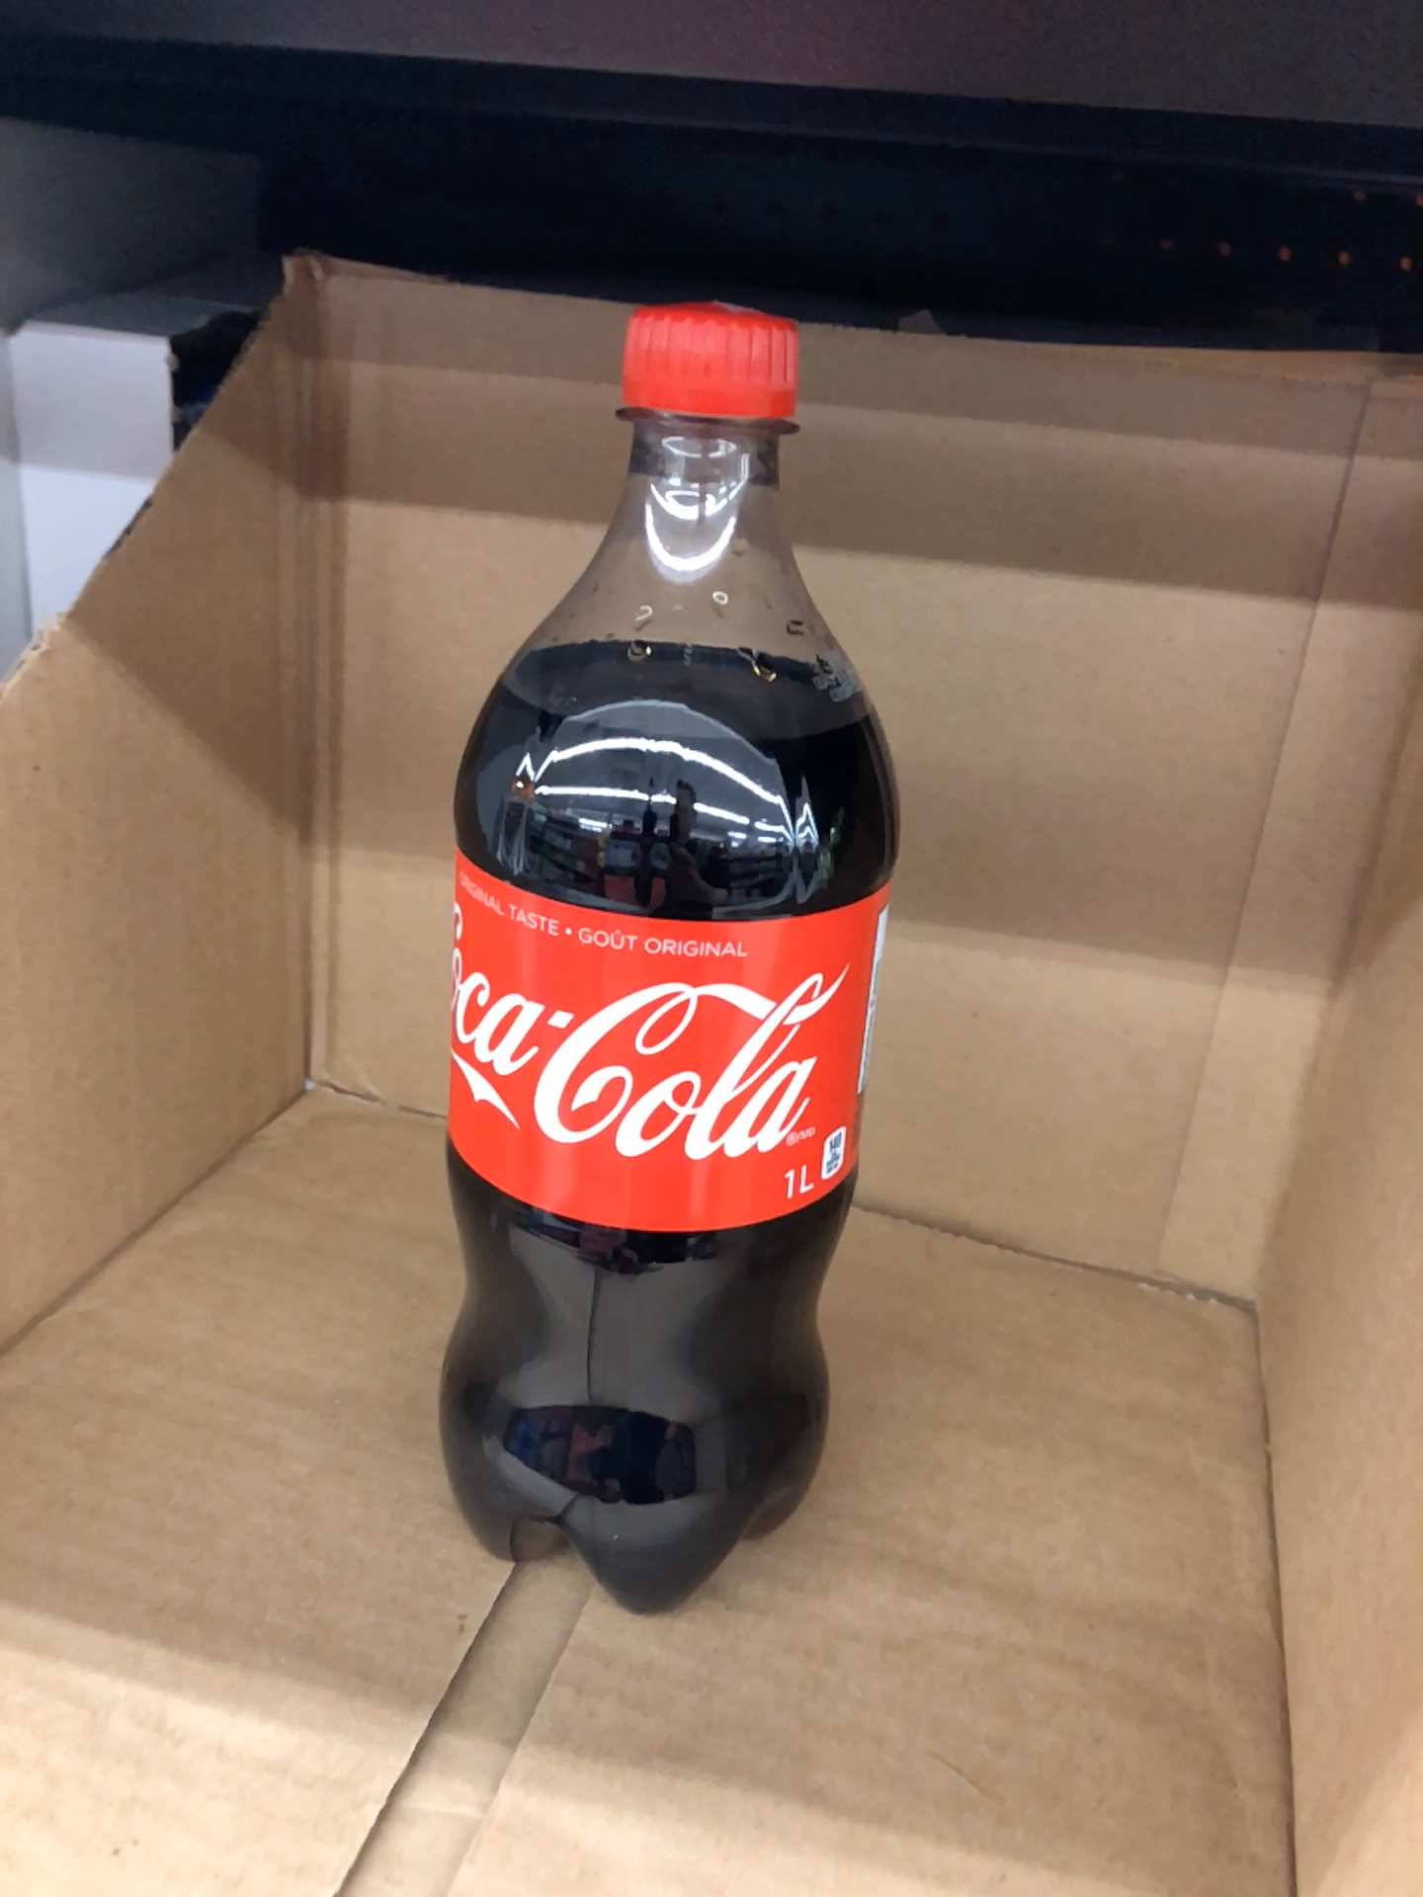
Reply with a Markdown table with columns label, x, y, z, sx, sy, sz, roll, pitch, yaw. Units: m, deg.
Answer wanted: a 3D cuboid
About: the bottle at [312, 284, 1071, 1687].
| label | x | y | z | sx | sy | sz | roll | pitch | yaw |
| --- | --- | --- | --- | --- | --- | --- | --- | --- | --- |
| bottle | -0.009 | 0.005 | 0.318 | 0.100 | 0.248 | 0.091 | 15 | 26 | 21 |
